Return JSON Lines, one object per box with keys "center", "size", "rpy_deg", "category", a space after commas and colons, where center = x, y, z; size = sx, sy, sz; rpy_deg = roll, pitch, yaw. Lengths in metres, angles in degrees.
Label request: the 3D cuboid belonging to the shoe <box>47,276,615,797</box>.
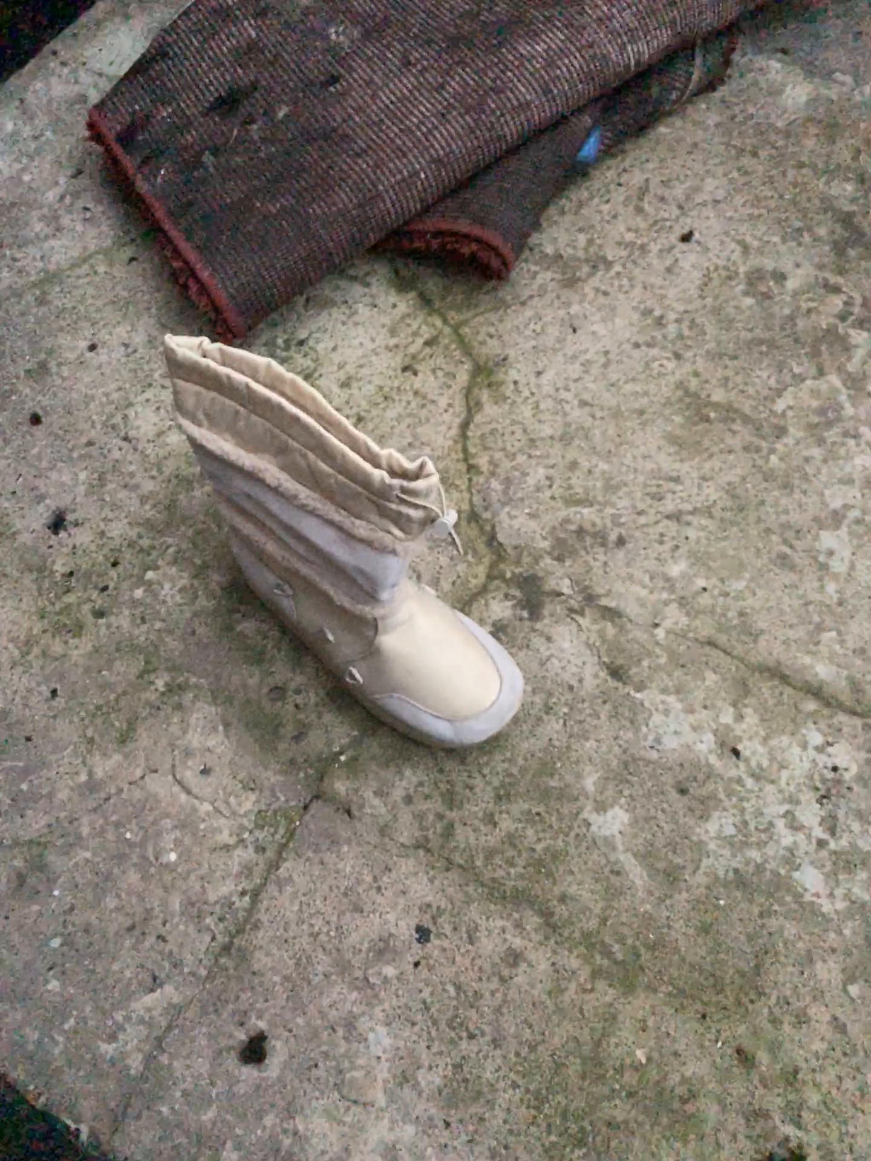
{"center": [-0.055, 0.000, 0.581], "size": [0.270, 0.299, 0.110], "rpy_deg": [33, 74, 12], "category": "shoe"}
